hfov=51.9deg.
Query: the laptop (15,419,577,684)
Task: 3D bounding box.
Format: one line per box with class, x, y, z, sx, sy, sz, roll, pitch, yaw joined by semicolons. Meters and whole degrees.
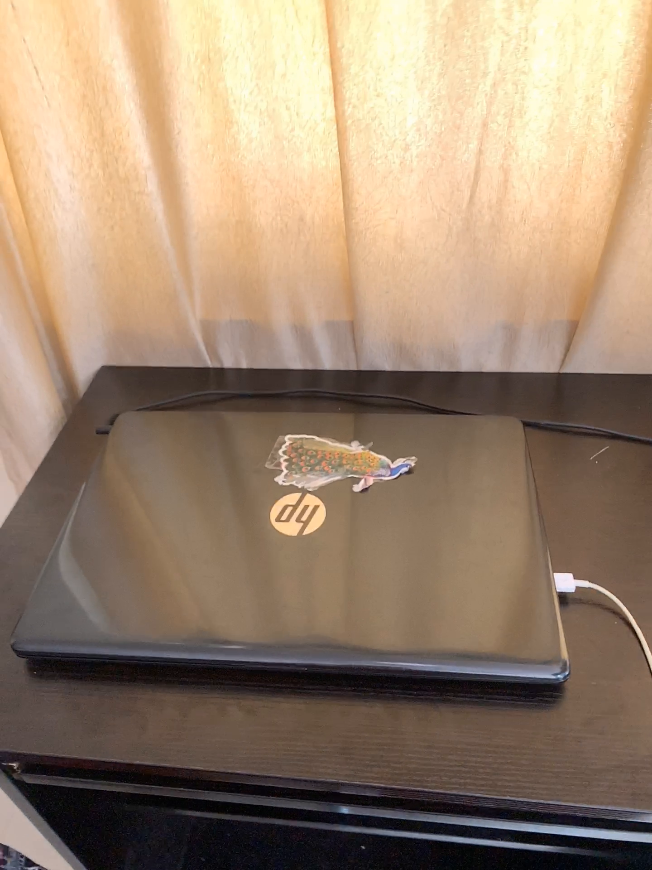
laptop;-0.020;0.070;0.529;0.373;0.006;0.238;1;42;7
